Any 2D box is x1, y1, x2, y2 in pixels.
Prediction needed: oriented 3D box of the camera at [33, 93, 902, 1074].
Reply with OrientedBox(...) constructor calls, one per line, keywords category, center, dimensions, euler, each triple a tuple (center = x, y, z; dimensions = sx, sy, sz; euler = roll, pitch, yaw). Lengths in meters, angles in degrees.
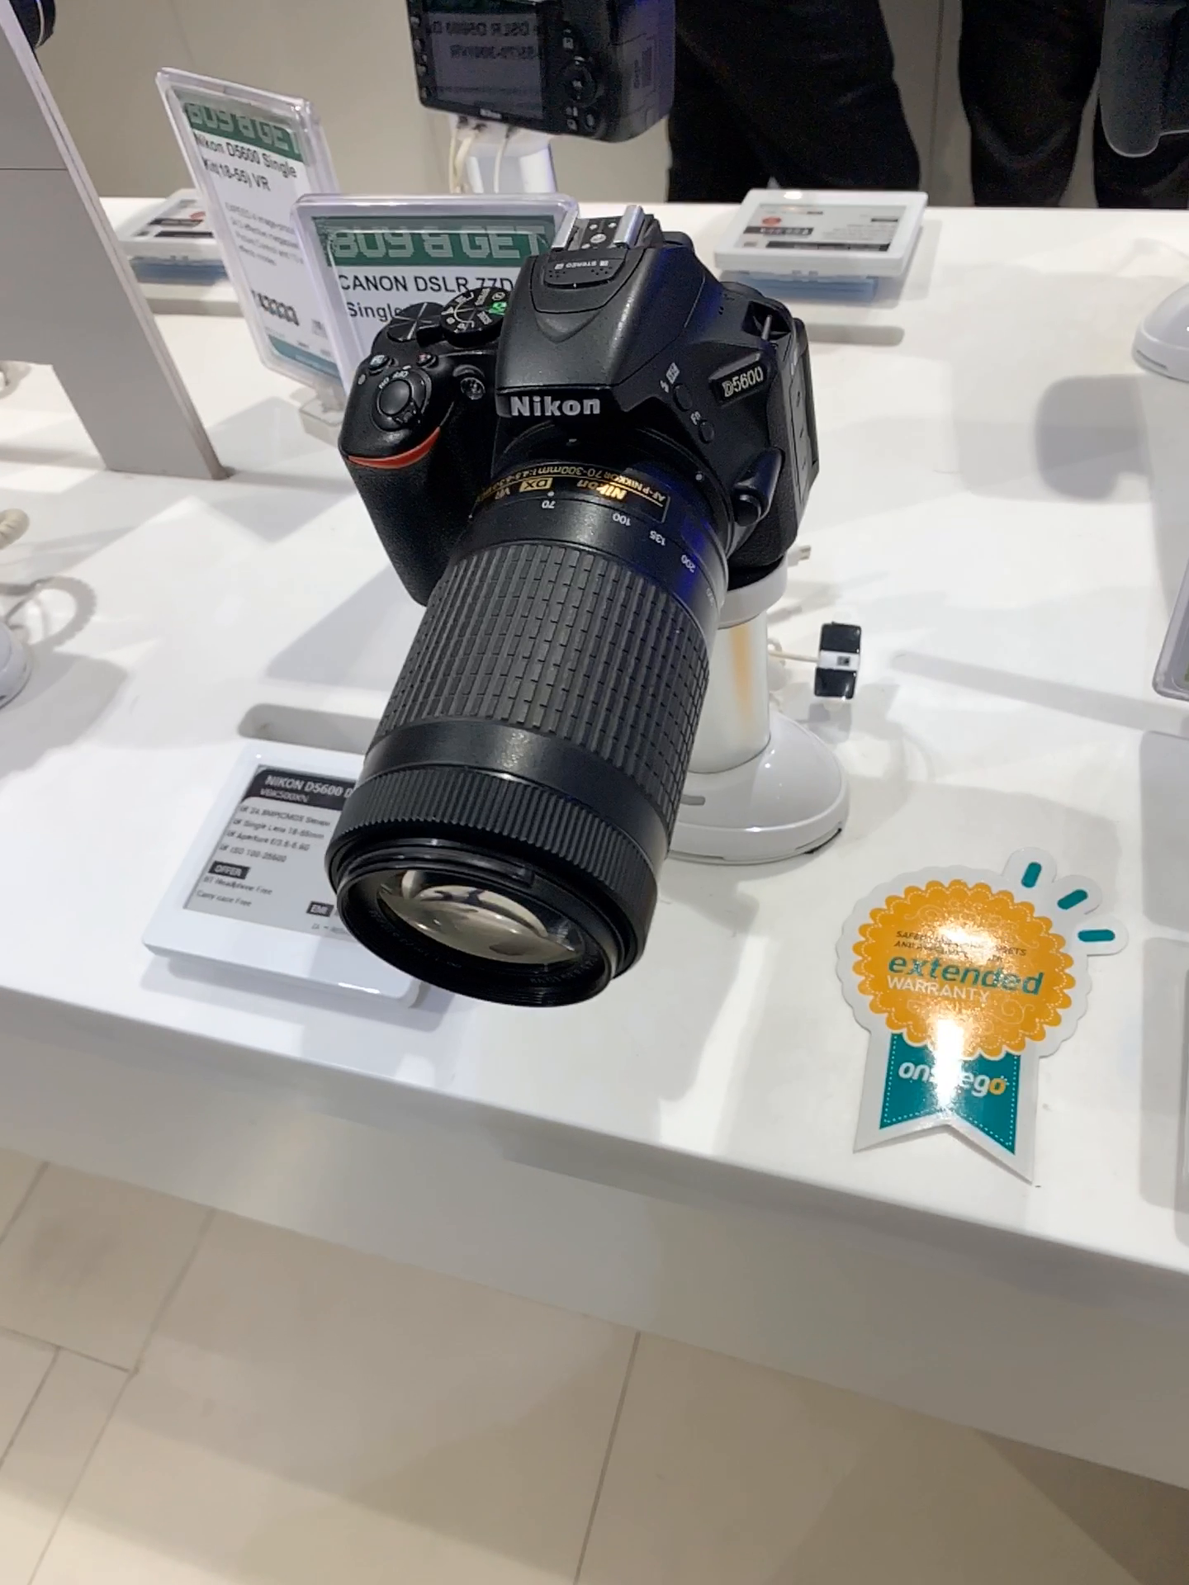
OrientedBox(category="camera", center=(-0.001, -0.081, 0.322), dimensions=(0.130, 0.080, 0.281), euler=(6, 51, 15))
